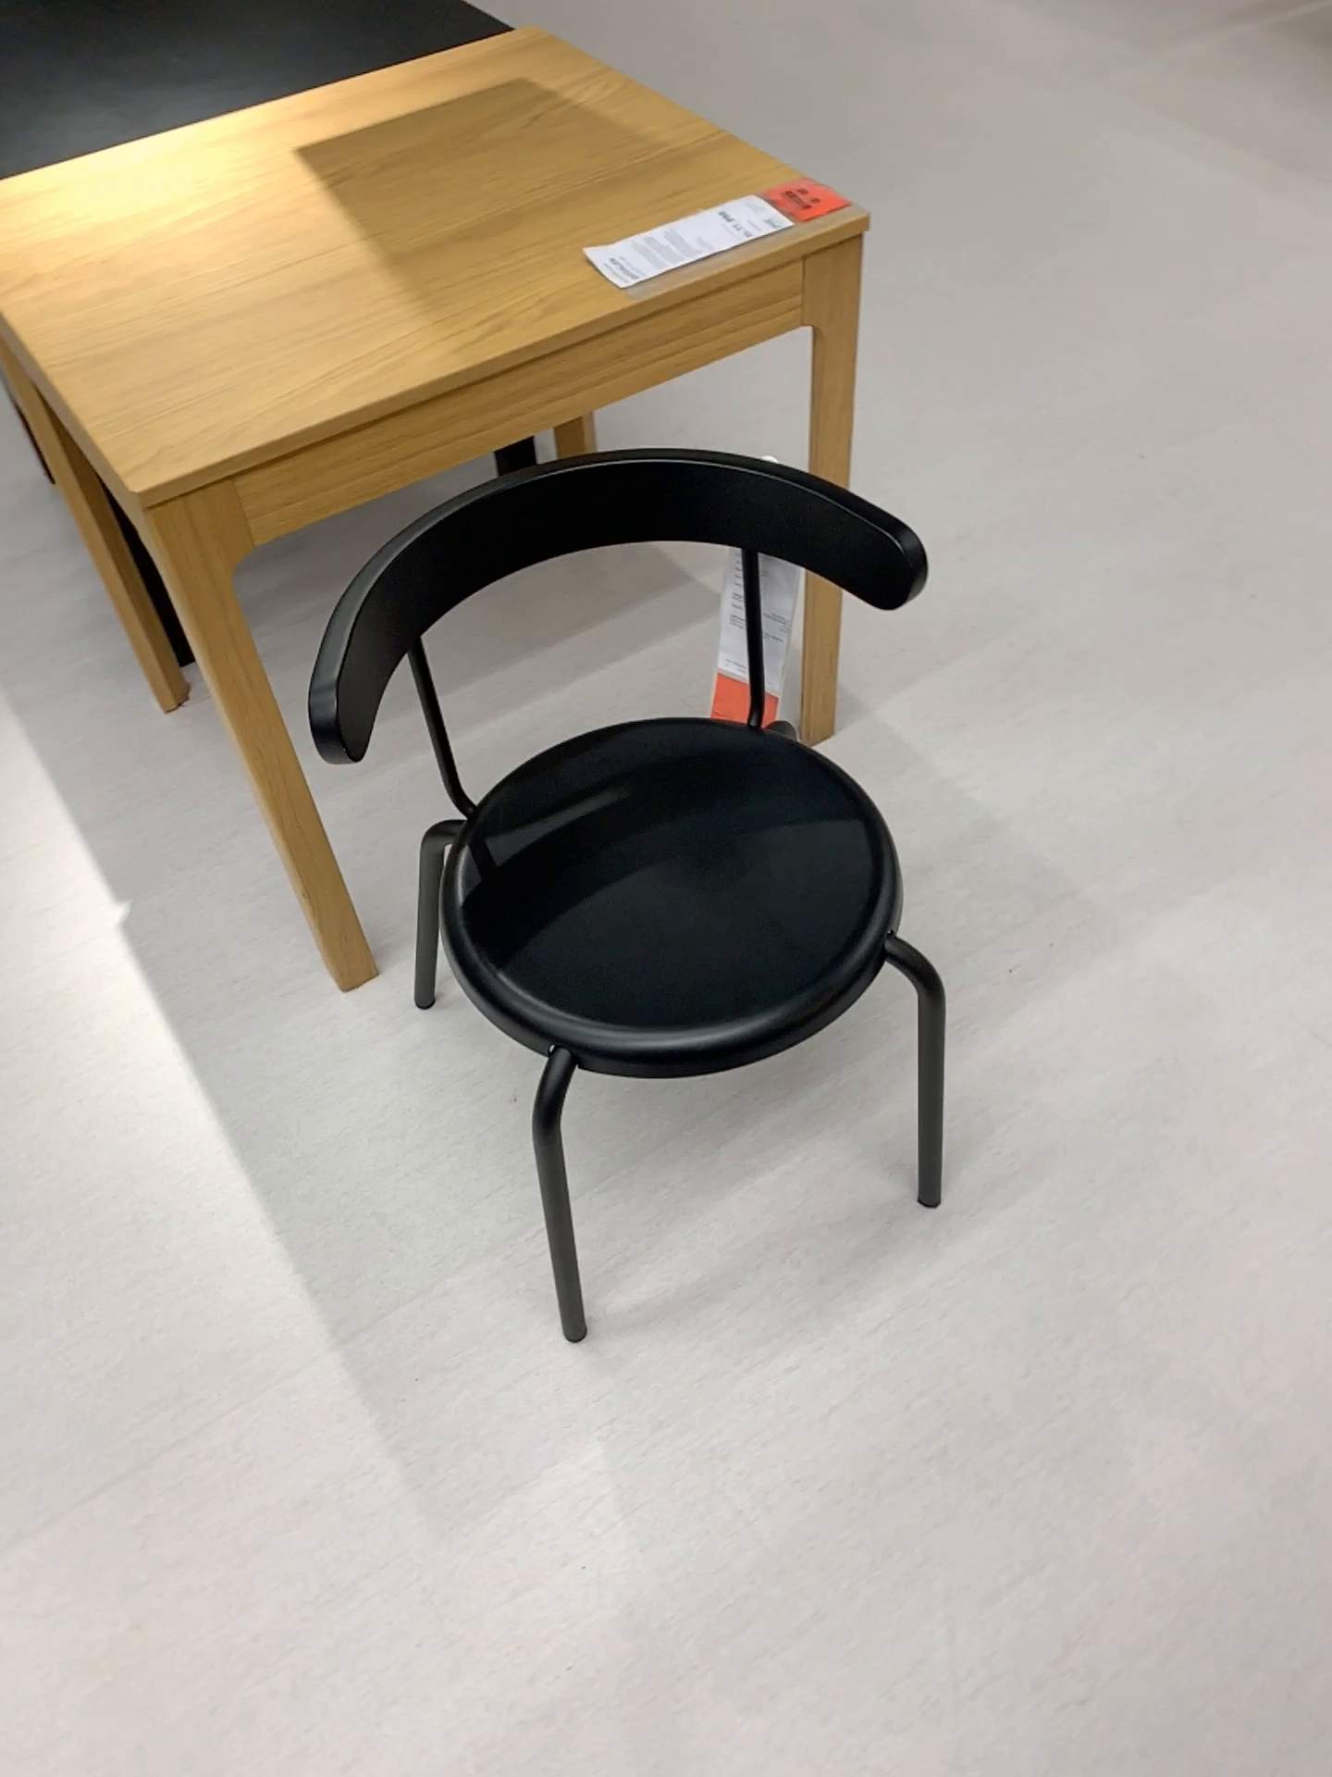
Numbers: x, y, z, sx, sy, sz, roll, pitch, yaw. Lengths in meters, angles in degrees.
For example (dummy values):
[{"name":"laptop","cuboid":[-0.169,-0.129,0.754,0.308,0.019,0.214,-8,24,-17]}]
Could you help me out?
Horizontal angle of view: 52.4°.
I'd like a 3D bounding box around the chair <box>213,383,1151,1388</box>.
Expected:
[{"name":"chair","cuboid":[-0.018,-0.006,1.334,0.590,0.598,0.612,-17,52,-10]}]
